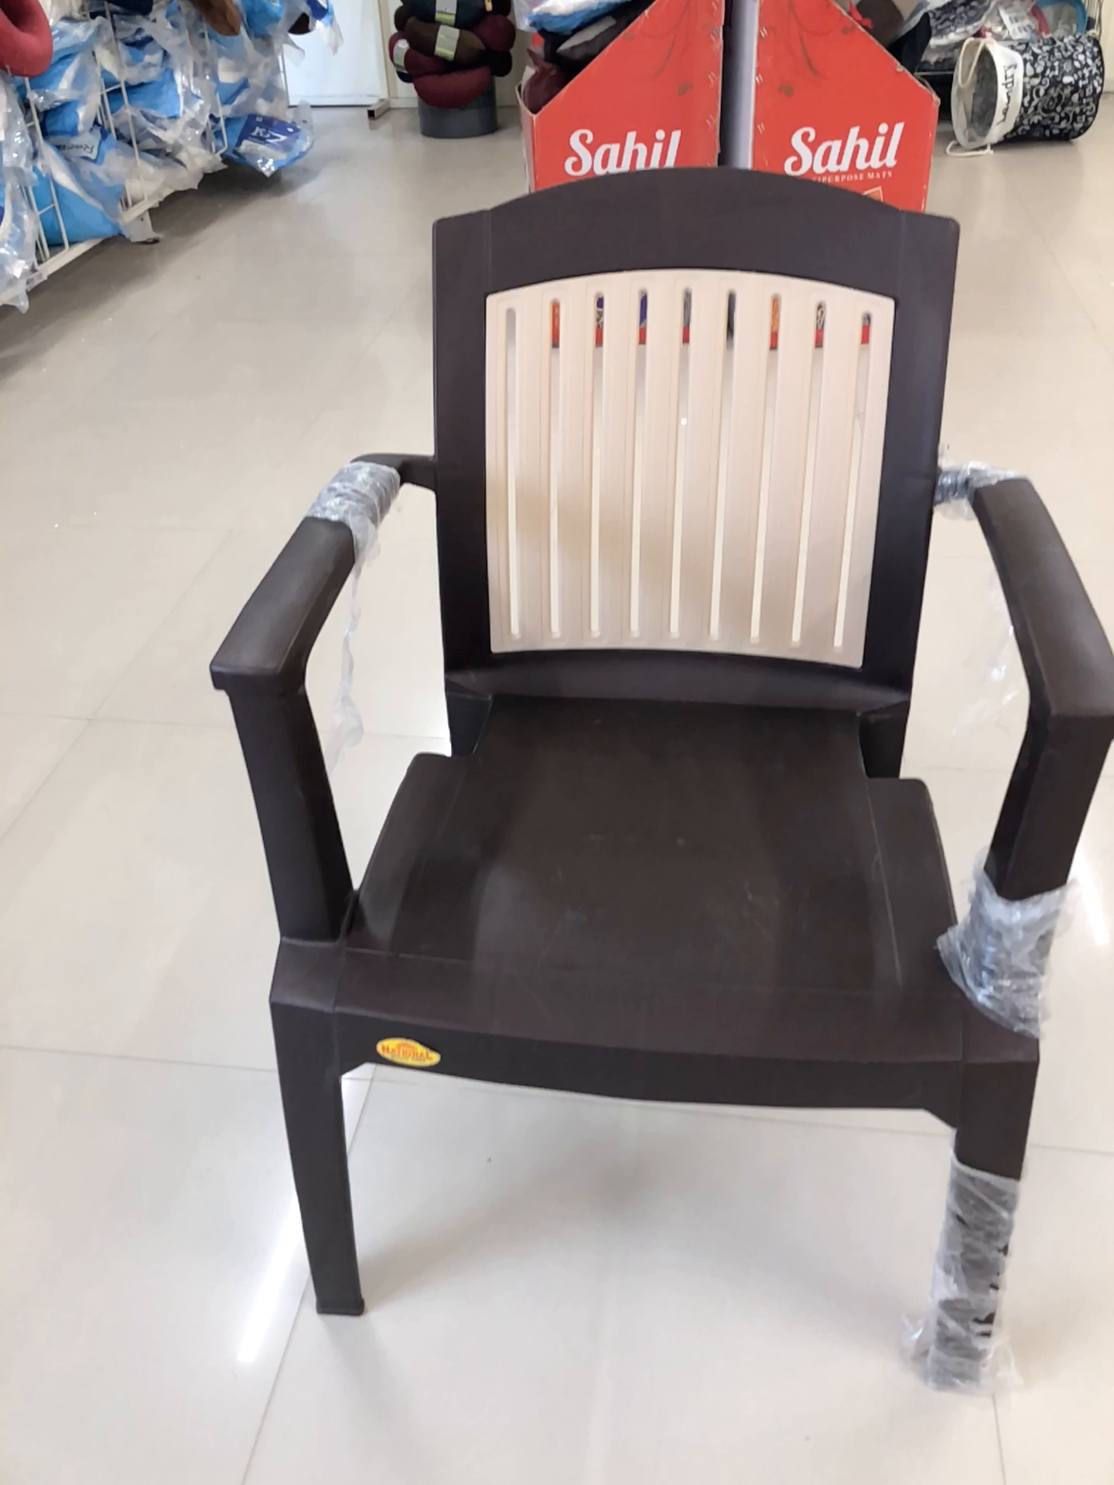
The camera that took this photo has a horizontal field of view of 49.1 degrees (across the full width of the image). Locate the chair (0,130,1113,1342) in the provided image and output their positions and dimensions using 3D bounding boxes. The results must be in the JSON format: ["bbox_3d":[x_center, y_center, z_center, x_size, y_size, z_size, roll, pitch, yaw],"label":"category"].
[{"bbox_3d":[0.075,-0.054,0.861,0.600,0.556,0.654,0,36,4],"label":"chair"}]
